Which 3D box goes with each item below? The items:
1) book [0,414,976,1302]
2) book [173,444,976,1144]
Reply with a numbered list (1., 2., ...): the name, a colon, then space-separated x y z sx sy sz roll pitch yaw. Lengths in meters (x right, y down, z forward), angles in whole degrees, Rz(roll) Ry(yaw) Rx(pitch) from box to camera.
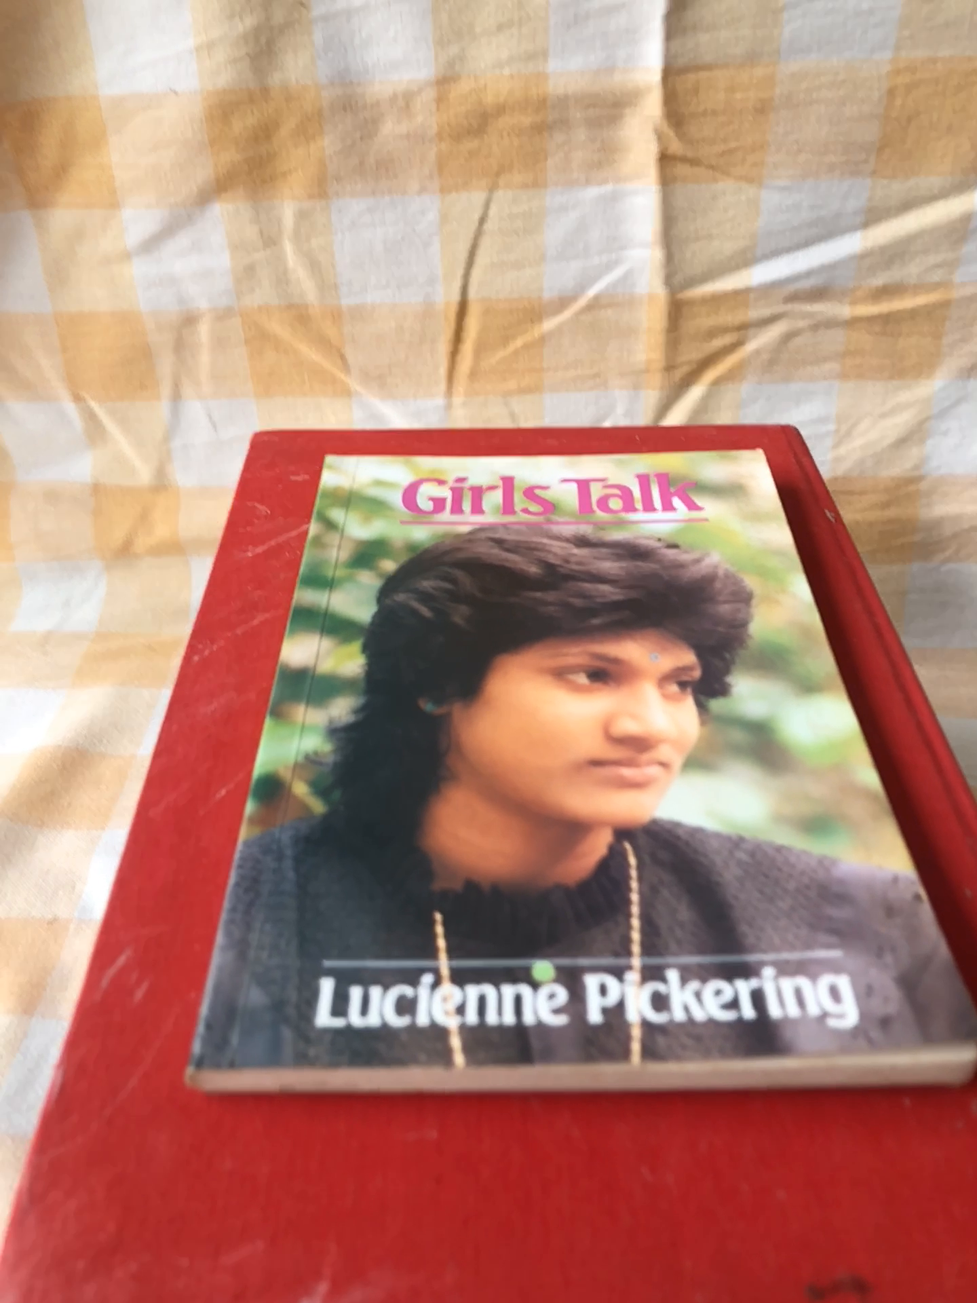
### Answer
1. book: 0.015 0.021 0.247 0.174 0.031 0.250 -1 40 -1
2. book: 0.016 0.013 0.243 0.130 0.025 0.183 -1 42 0
